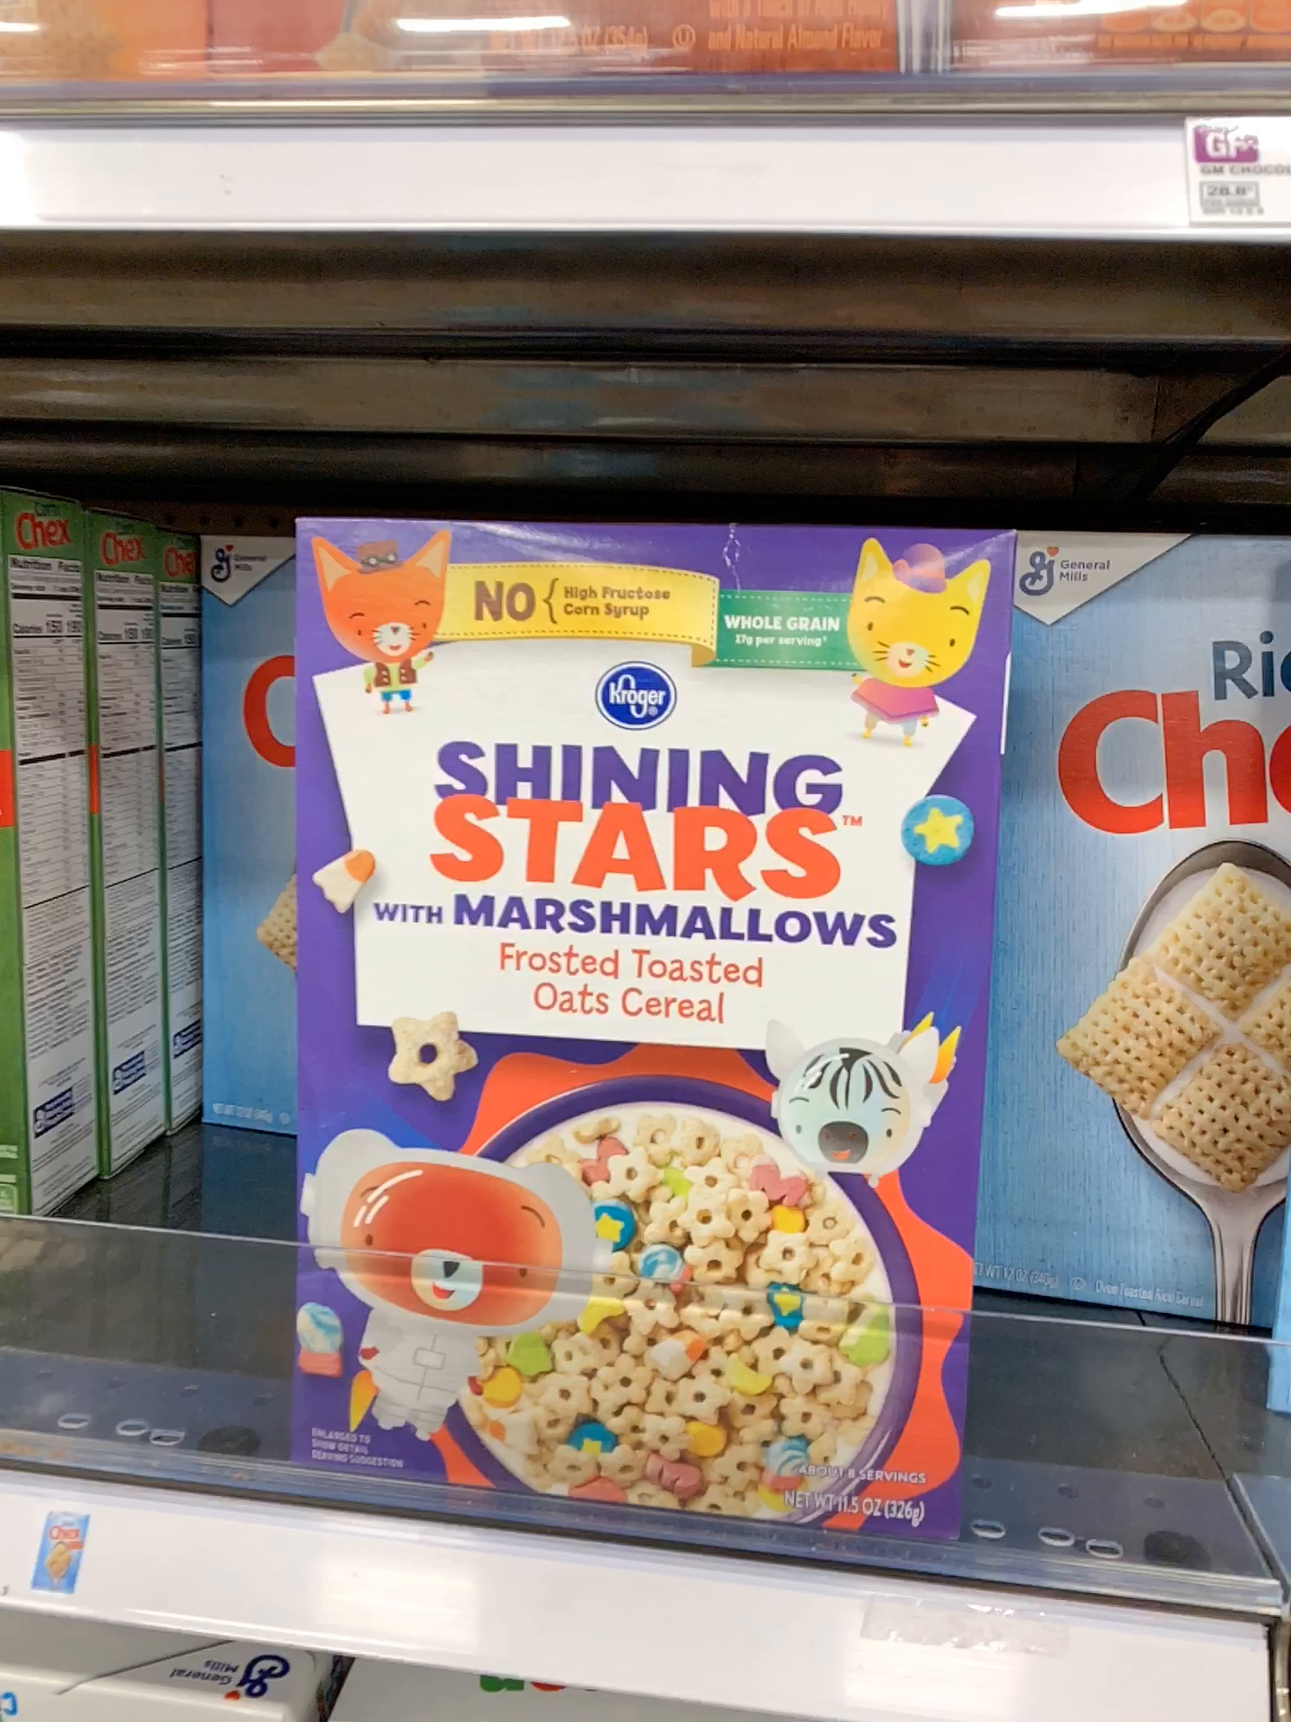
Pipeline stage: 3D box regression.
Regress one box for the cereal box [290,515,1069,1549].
[{"bbox_3d":[0.005,0.044,0.378,0.200,0.270,0.050,2,6,6],"label":"cereal box"}]
